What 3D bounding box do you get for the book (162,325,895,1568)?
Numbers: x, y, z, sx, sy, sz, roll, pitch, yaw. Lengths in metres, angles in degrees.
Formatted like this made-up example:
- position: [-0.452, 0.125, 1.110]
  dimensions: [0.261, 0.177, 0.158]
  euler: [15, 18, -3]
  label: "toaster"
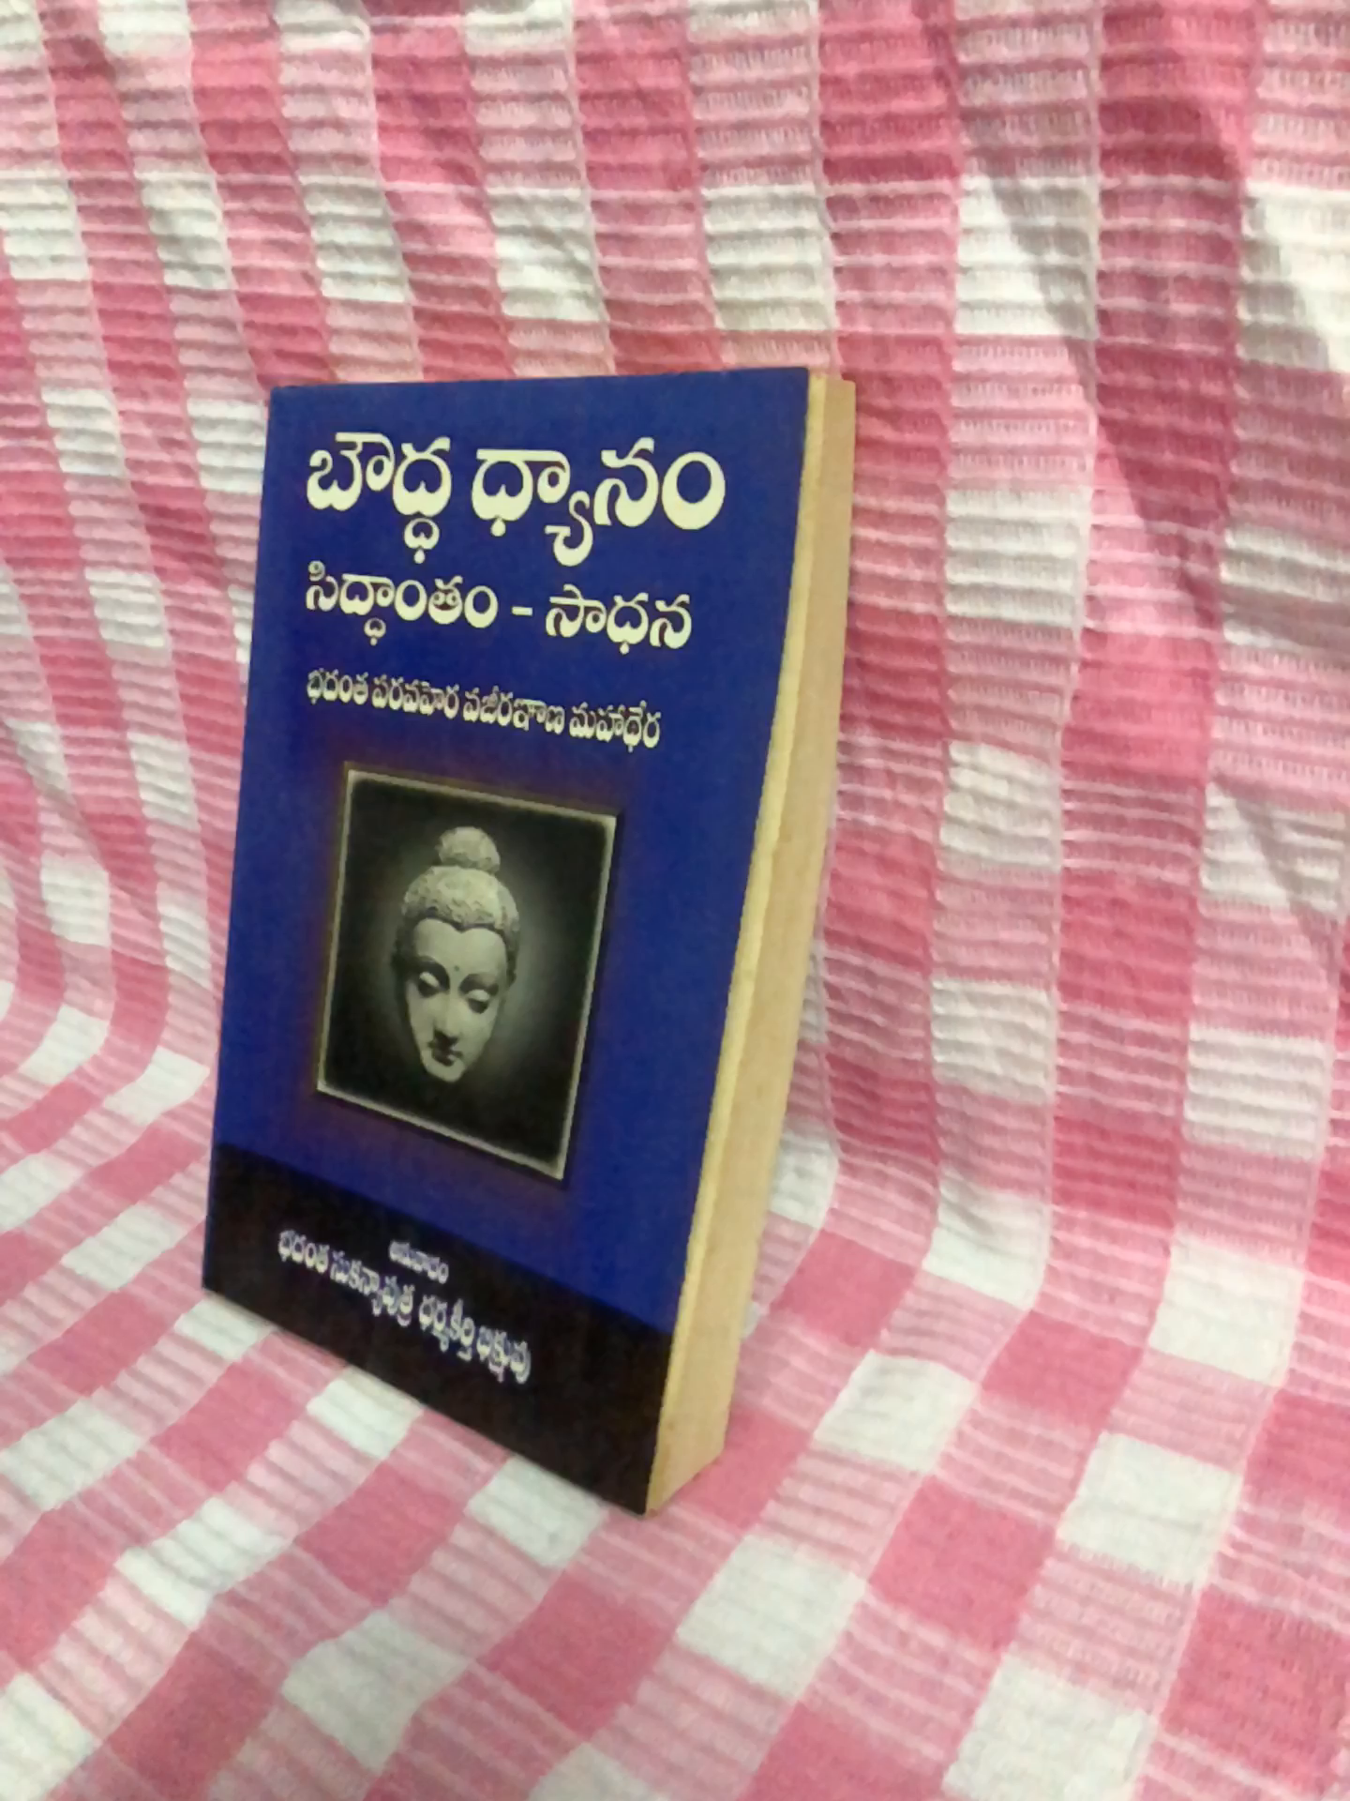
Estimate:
- position: [-0.044, 0.000, 0.330]
  dimensions: [0.160, 0.230, 0.030]
  euler: [12, 8, 36]
  label: "book"
